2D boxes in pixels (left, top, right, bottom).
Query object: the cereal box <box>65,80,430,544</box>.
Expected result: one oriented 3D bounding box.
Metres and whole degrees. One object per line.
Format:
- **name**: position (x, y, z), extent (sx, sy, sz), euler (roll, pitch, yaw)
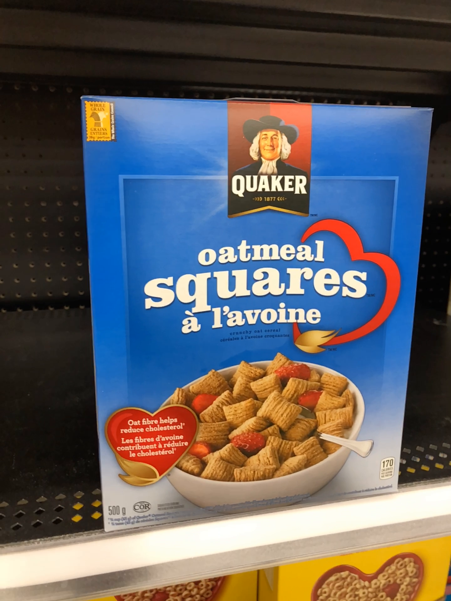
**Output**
- **cereal box**: position (0.011, 0.010, 0.341), extent (0.210, 0.279, 0.060), euler (-3, 15, -14)
